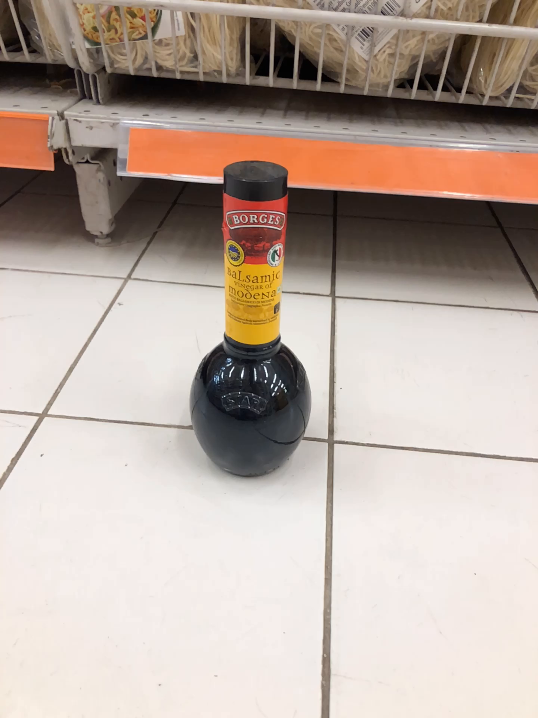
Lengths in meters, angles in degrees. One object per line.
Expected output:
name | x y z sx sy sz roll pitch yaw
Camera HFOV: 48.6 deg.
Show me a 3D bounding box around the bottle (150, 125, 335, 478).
bottle | -0.012 -0.028 0.342 0.080 0.179 0.081 2 35 -1
